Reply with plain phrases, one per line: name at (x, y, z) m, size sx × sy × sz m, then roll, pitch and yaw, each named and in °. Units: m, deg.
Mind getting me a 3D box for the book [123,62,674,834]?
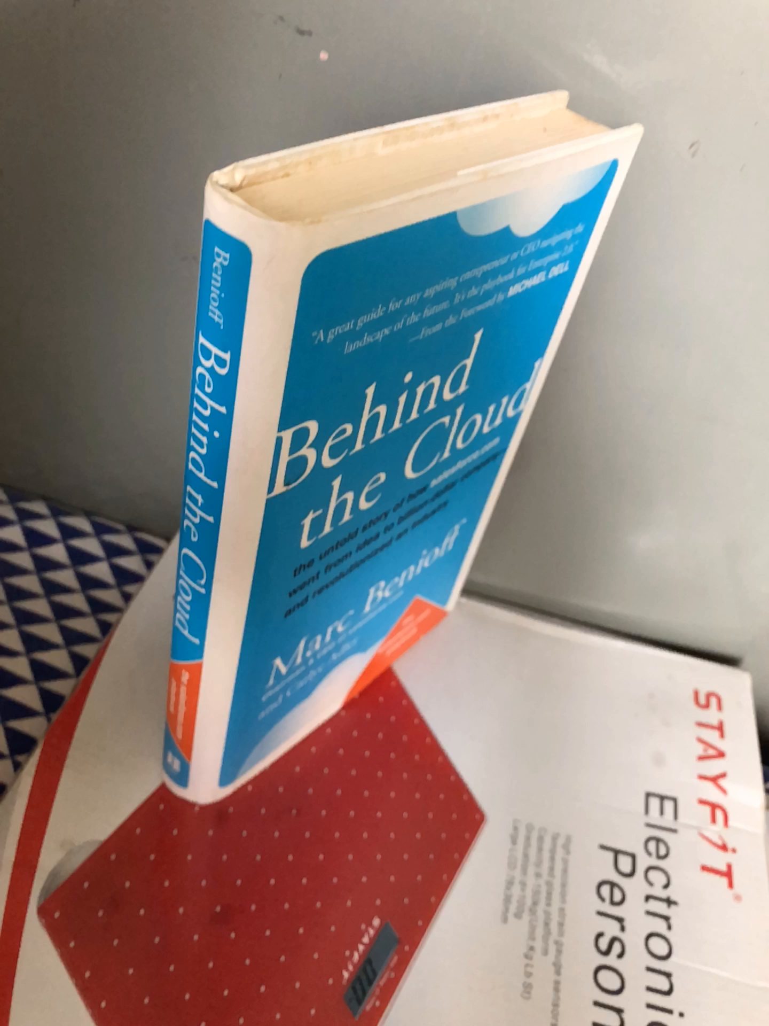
book at (-0.001, -0.022, 0.310) m, size 0.040 × 0.239 × 0.191 m, roll 35°, pitch 43°, yaw 23°
